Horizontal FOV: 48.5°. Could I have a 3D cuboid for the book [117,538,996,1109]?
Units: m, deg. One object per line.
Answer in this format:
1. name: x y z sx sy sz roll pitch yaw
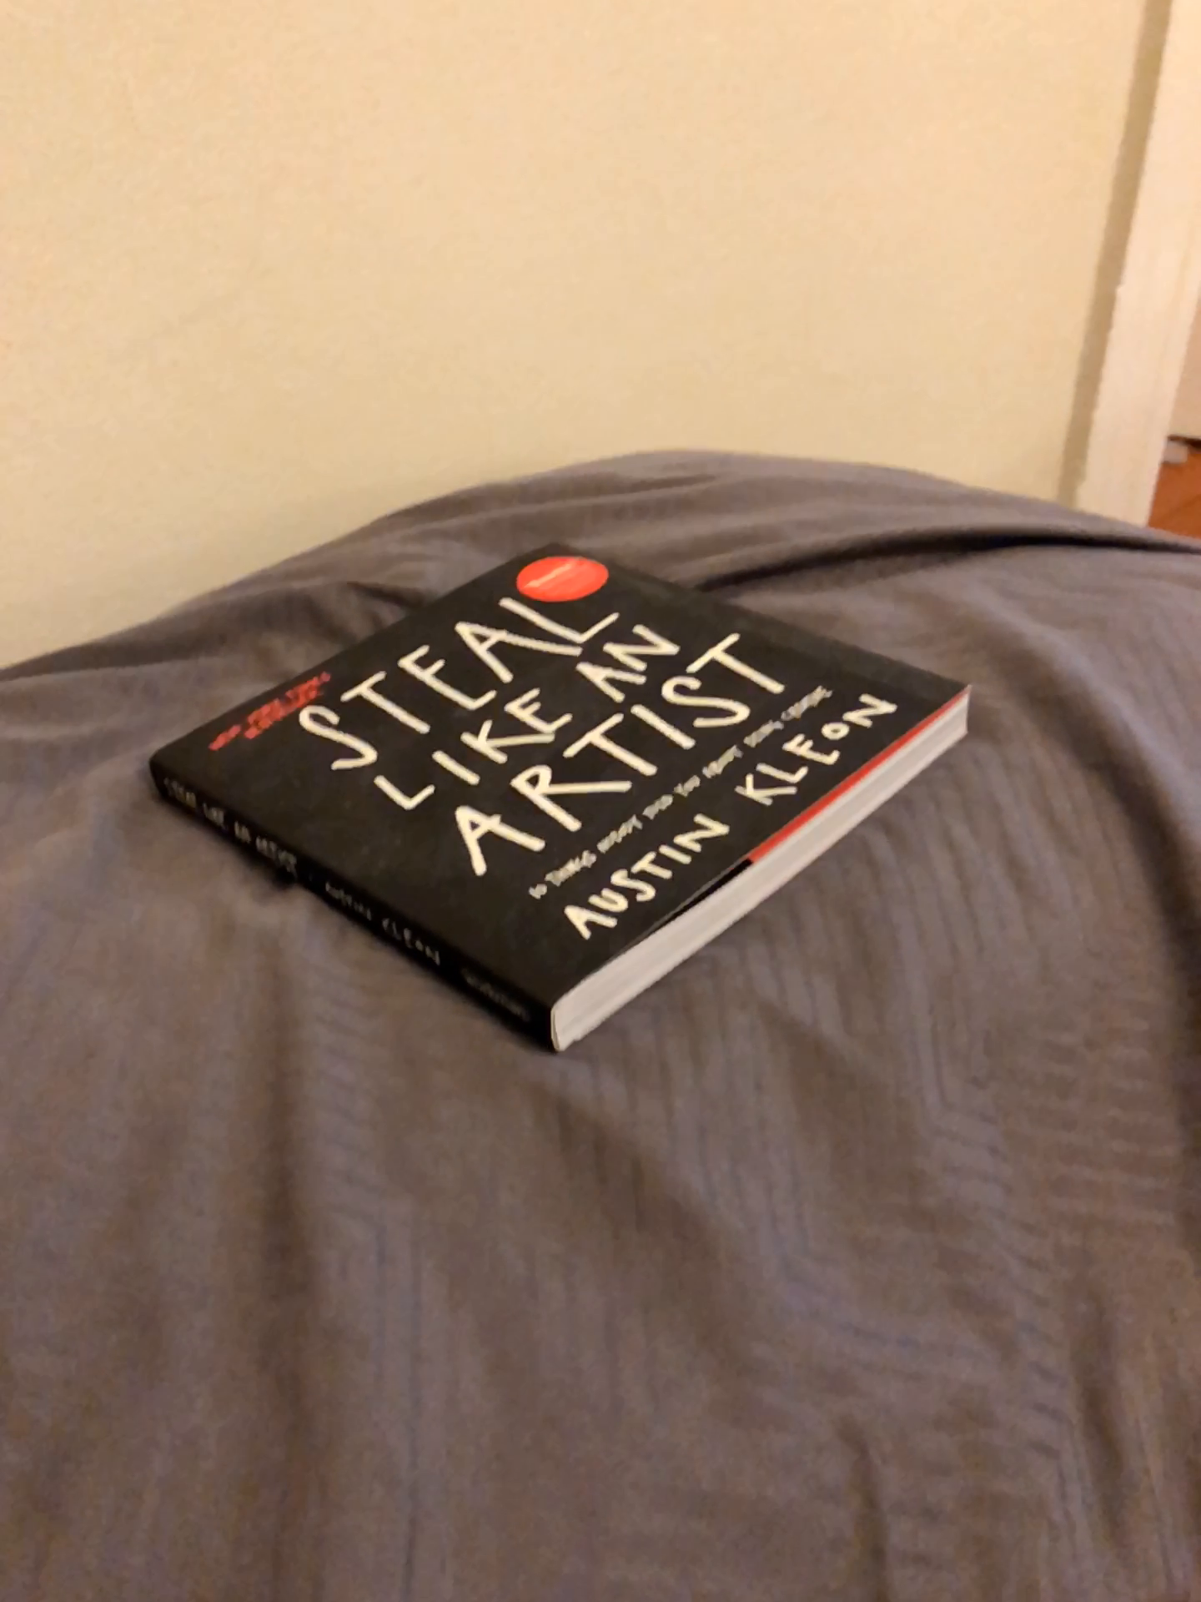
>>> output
1. book: -0.011 -0.013 0.348 0.160 0.020 0.161 27 45 36
